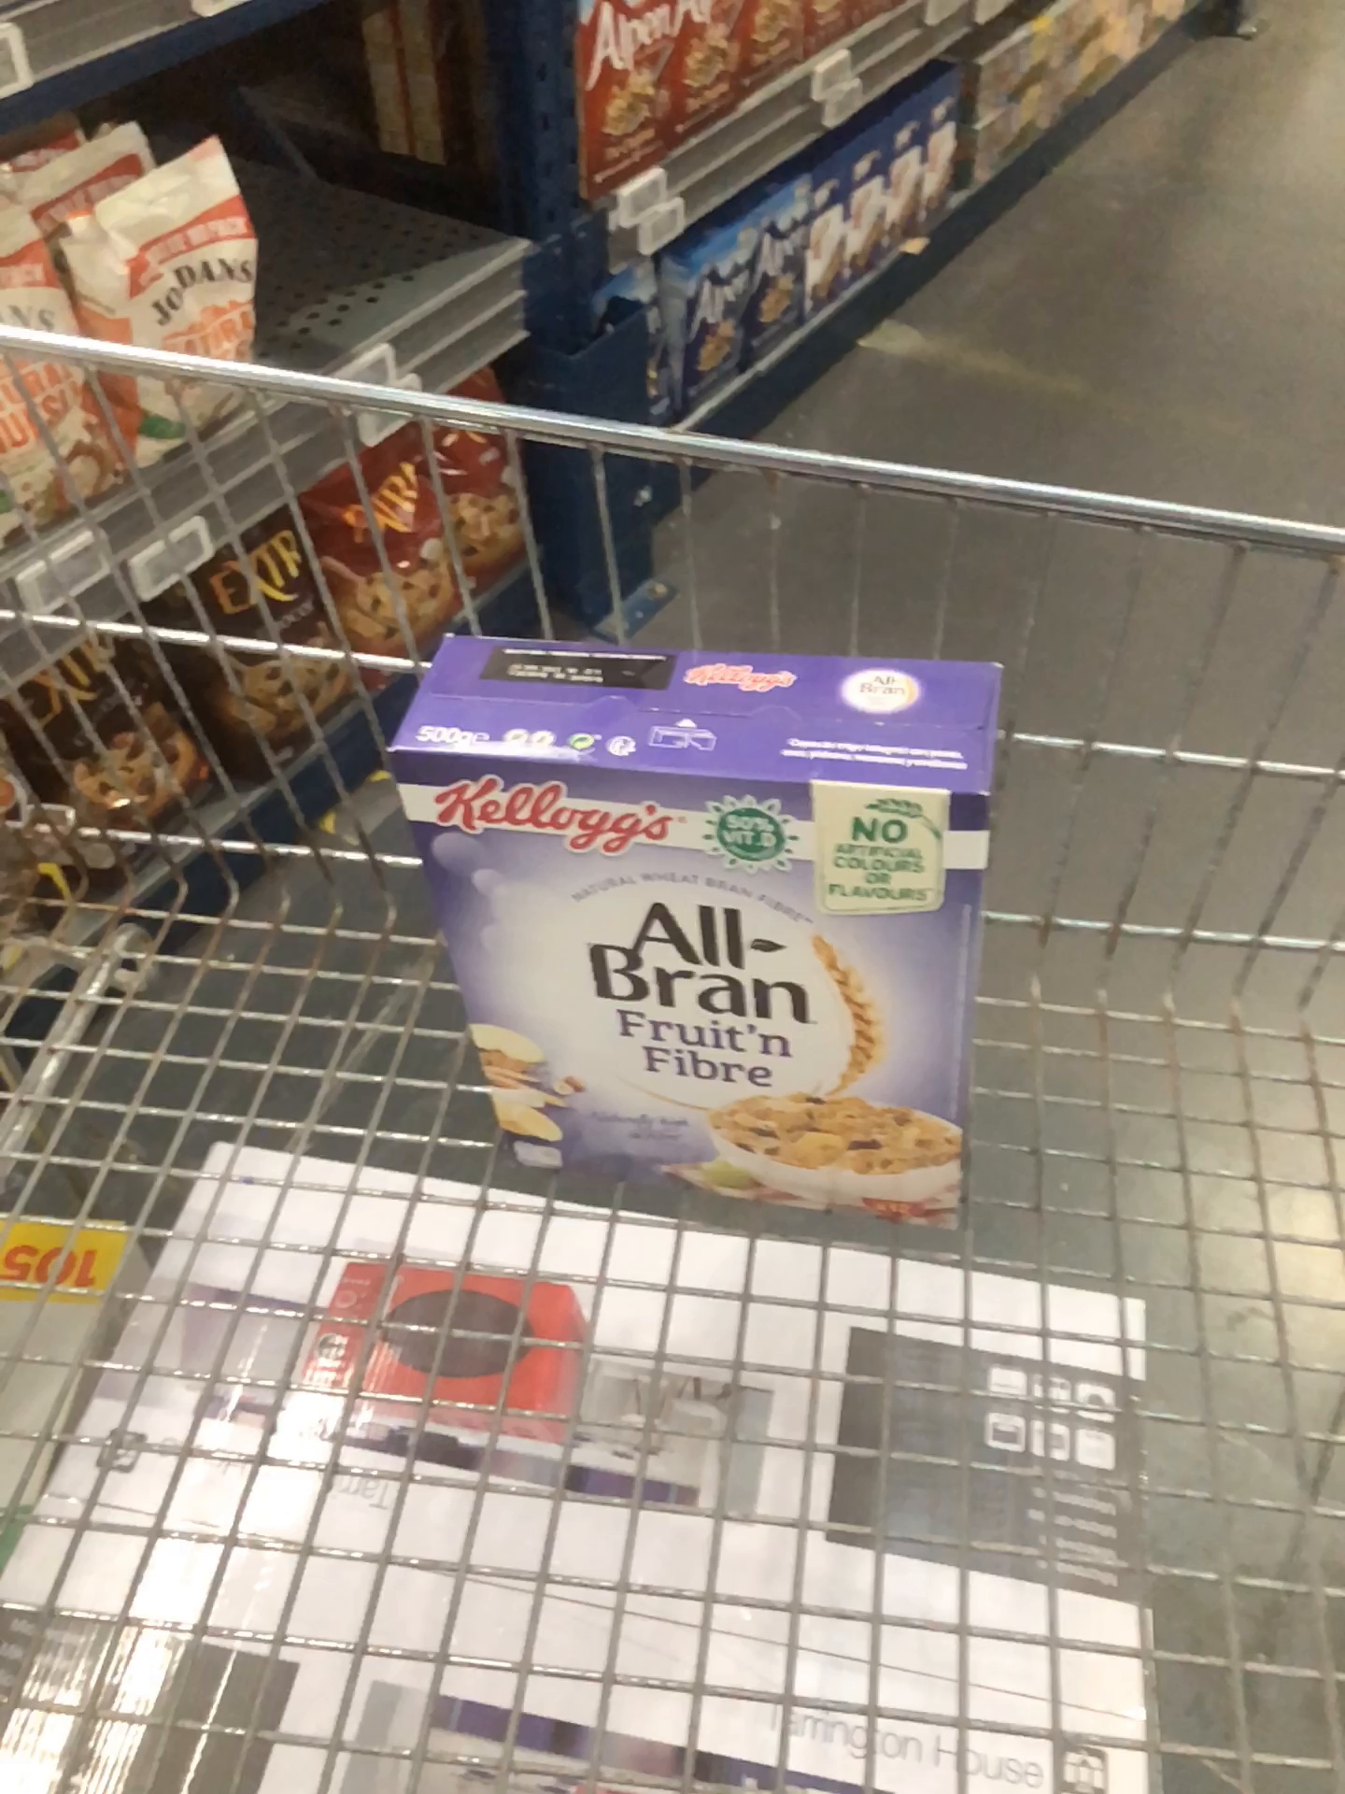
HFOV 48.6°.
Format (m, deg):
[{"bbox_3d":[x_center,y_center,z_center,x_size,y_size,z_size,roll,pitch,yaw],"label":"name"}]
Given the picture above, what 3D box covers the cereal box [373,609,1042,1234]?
[{"bbox_3d":[0.023,0.016,0.550,0.200,0.229,0.080,4,47,12],"label":"cereal box"}]
